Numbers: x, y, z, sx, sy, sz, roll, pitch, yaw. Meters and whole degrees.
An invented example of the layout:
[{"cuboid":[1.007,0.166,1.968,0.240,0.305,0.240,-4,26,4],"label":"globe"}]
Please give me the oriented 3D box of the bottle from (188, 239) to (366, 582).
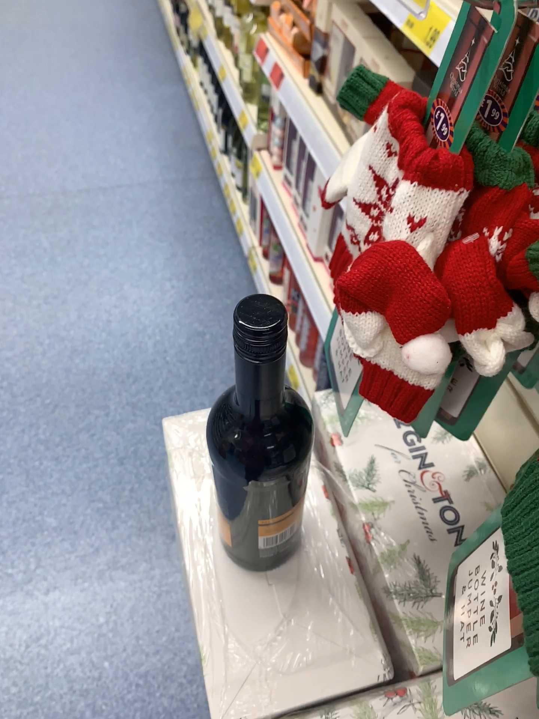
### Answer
[{"cuboid":[-0.001,0.061,0.401,0.074,0.288,0.078,2,50,-3],"label":"bottle"}]
